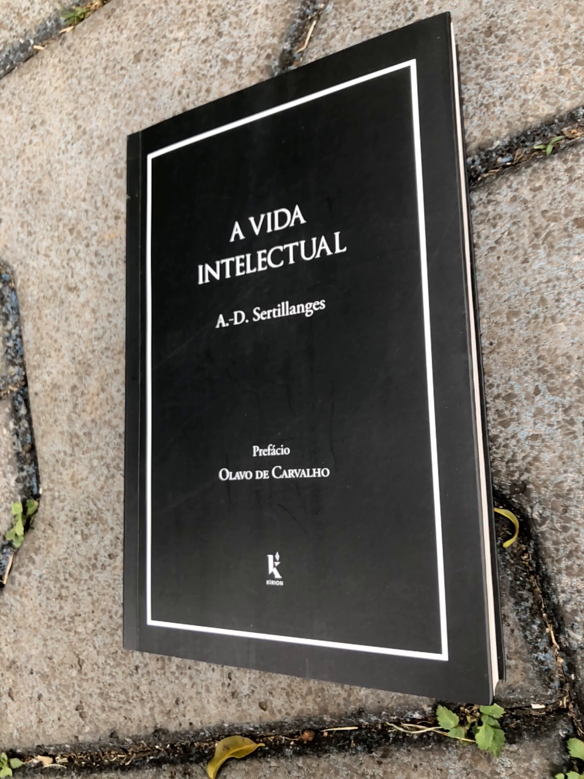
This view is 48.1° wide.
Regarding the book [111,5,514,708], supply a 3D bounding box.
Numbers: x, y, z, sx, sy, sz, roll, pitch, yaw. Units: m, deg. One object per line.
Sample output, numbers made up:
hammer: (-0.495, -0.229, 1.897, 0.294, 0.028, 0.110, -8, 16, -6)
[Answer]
book: (-0.004, -0.009, 0.222, 0.136, 0.020, 0.196, -6, 81, 30)
